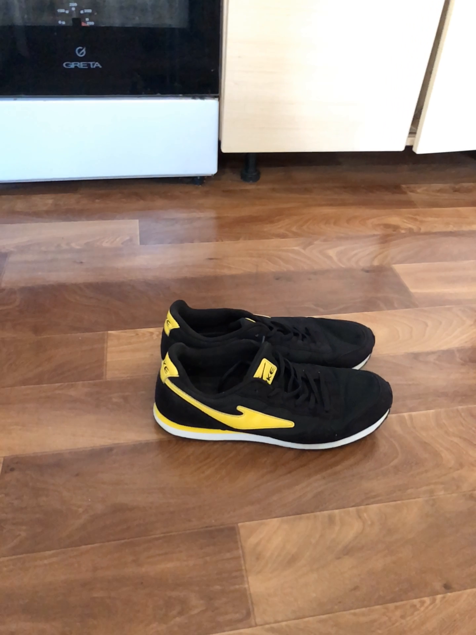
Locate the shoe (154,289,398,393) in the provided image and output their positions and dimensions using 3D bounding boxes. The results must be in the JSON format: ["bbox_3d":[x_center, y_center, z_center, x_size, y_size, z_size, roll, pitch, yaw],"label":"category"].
[{"bbox_3d":[0.043,0.029,0.703,0.300,0.079,0.111,-1,39,-6],"label":"shoe"}]

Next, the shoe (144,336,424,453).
[{"bbox_3d":[0.047,0.088,0.621,0.300,0.079,0.111,0,39,-4],"label":"shoe"}]
